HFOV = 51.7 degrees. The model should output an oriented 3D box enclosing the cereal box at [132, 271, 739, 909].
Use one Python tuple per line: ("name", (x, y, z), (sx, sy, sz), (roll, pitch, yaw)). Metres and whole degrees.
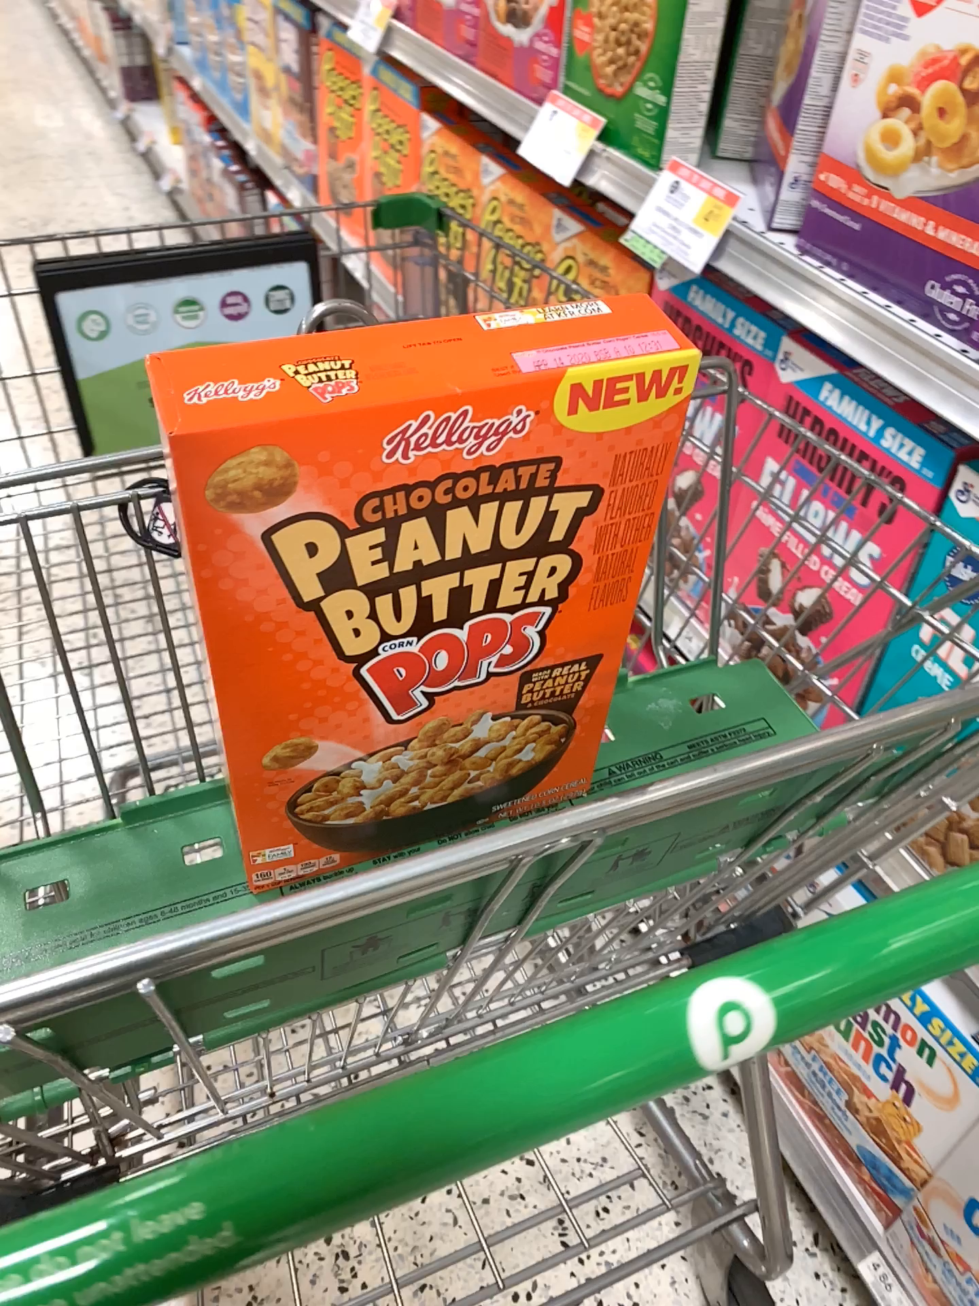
("cereal box", (-0.025, -0.010, 0.446), (0.200, 0.287, 0.050), (-14, 50, -18))
